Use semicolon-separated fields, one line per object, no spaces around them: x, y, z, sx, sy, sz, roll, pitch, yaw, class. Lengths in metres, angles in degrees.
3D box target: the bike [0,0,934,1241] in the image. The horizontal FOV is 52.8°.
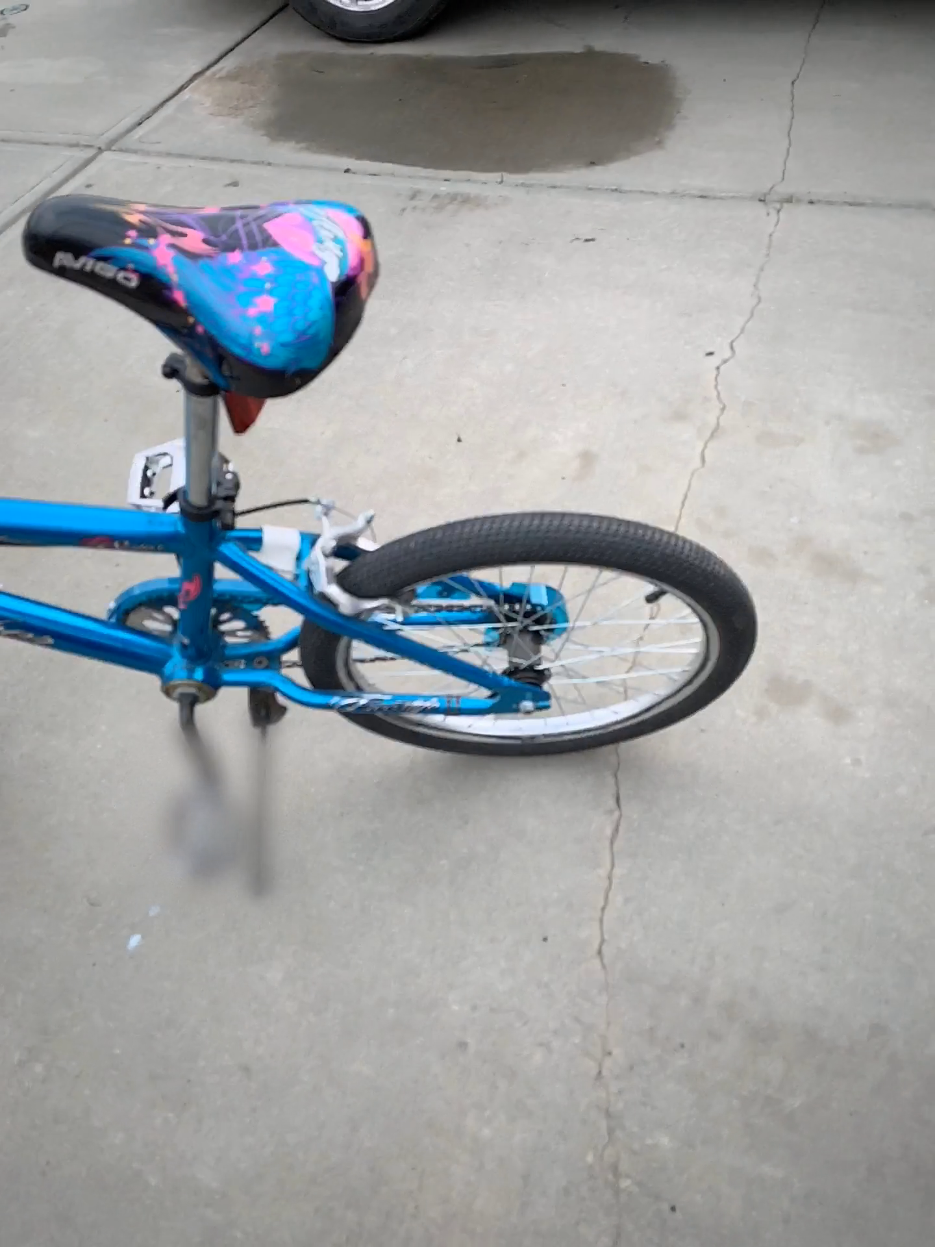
-0.387;0.033;0.851;1.381;0.837;0.685;-4;50;0;bike
